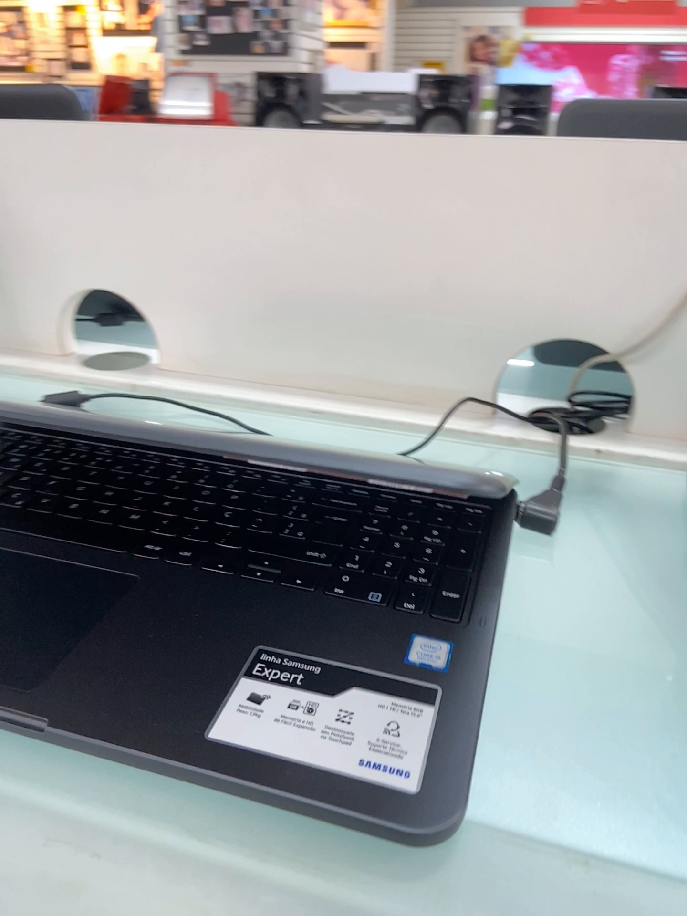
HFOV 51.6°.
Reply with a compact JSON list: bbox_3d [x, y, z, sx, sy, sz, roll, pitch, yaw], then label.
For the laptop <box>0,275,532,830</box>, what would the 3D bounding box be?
[{"bbox_3d":[-0.113,-0.002,0.354,0.376,0.101,0.234,8,27,15],"label":"laptop"}]
